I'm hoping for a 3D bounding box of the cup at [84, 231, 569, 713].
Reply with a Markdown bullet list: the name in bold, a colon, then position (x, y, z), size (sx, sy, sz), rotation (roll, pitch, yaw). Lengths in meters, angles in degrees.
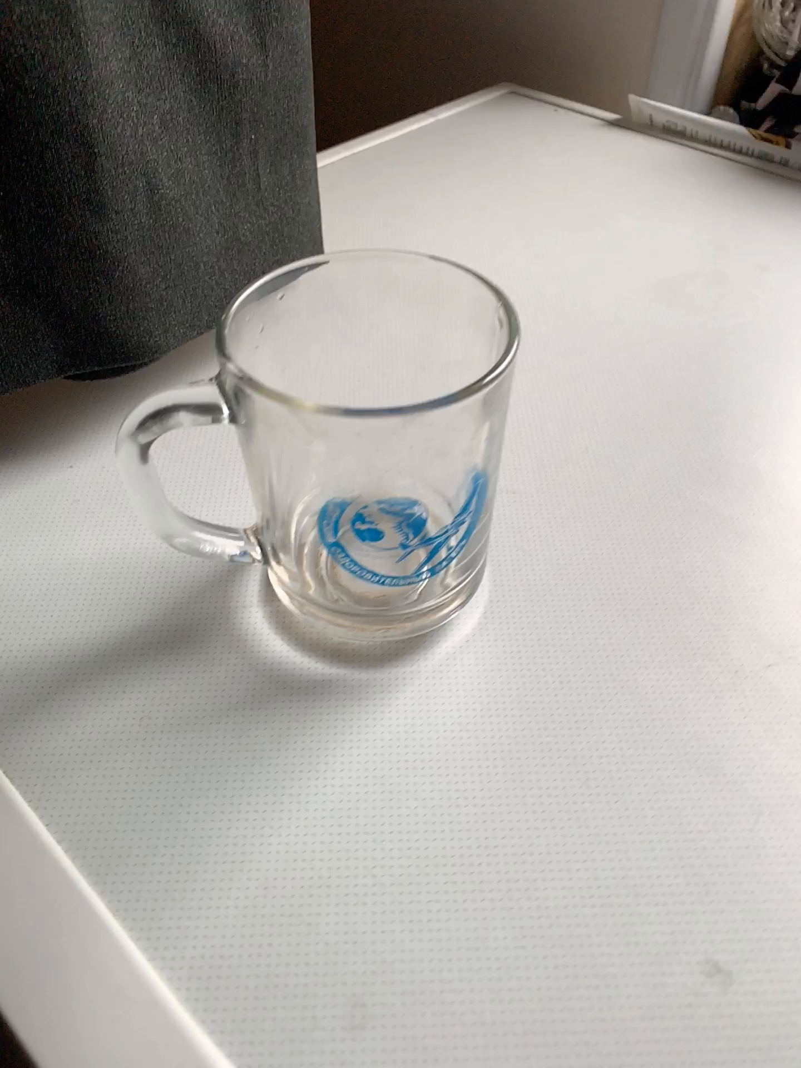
- **cup**: position (-0.017, -0.015, 0.211), size (0.090, 0.089, 0.071), rotation (-6, 46, -5)
